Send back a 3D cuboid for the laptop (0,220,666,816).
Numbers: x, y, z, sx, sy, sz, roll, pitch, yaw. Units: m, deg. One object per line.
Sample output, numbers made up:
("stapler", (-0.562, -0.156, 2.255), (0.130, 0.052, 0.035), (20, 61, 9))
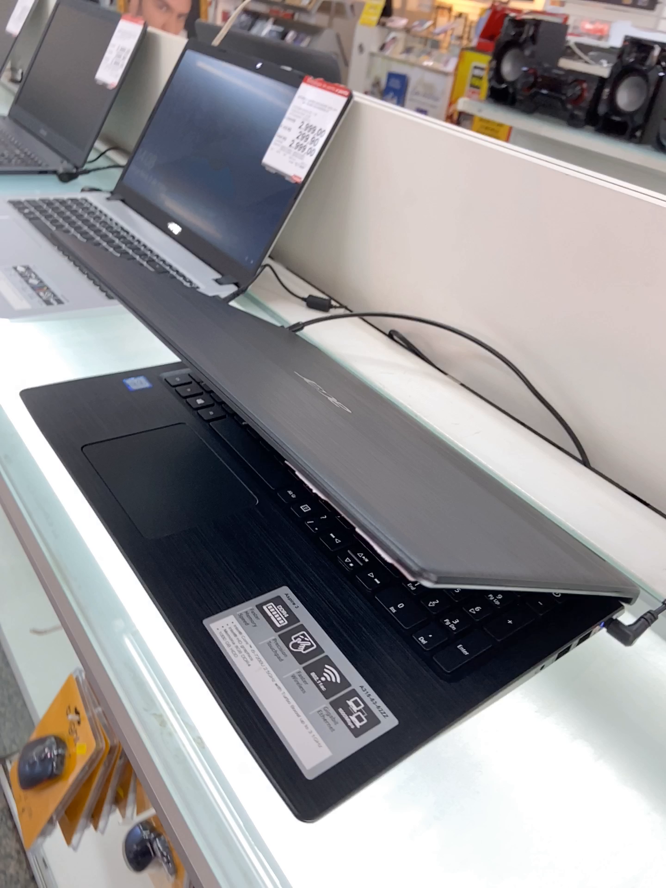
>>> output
("laptop", (-0.022, -0.020, 0.438), (0.237, 0.118, 0.382), (-16, 41, -35))
